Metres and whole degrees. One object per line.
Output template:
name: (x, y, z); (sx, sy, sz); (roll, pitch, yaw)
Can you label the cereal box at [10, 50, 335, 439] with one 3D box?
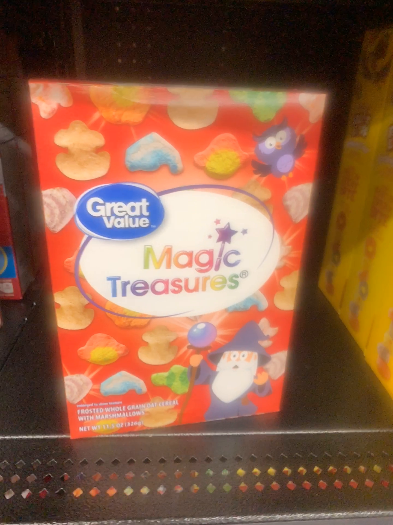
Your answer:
cereal box: (-0.016, -0.007, 0.331); (0.200, 0.279, 0.070); (-3, 21, -11)
